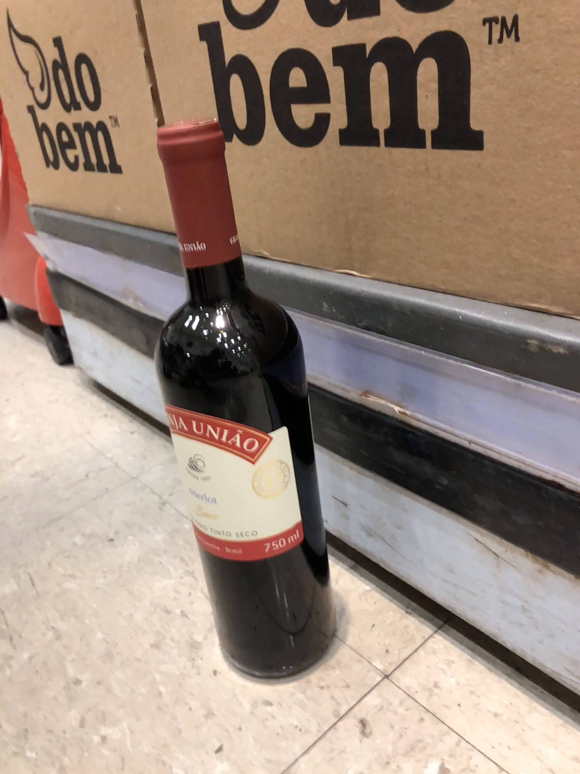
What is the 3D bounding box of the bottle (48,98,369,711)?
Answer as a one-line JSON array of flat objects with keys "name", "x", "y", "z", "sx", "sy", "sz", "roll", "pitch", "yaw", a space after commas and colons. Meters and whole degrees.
[{"name": "bottle", "x": -0.025, "y": 0.019, "z": 0.336, "sx": 0.080, "sy": 0.298, "sz": 0.080, "roll": -7, "pitch": 26, "yaw": 3}]
